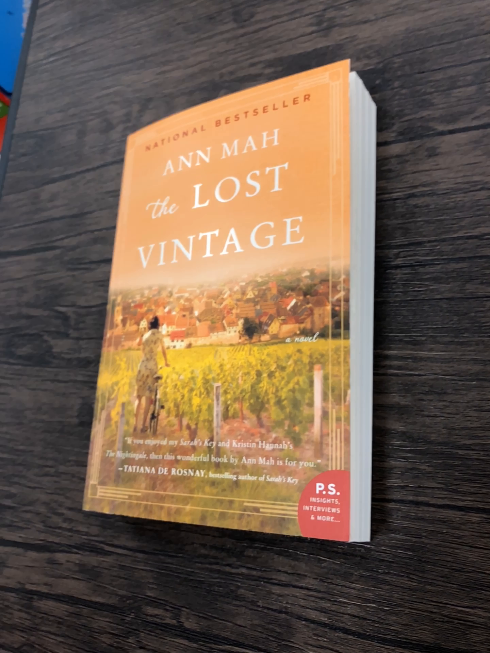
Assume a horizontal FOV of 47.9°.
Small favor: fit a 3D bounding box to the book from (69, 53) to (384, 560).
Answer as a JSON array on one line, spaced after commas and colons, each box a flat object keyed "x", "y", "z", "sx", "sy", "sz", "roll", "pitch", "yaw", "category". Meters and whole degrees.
[{"x": -0.008, "y": -0.009, "z": 0.259, "sx": 0.134, "sy": 0.040, "sz": 0.200, "roll": -5, "pitch": 75, "yaw": 29, "category": "book"}]
